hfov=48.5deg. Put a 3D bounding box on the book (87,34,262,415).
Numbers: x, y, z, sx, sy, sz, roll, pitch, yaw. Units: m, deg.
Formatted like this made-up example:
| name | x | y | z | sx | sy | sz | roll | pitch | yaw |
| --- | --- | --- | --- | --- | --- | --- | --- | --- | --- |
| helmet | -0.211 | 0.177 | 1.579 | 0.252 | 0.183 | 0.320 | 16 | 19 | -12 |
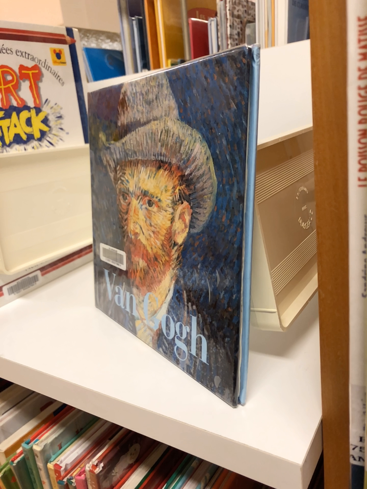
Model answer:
| name | x | y | z | sx | sy | sz | roll | pitch | yaw |
| --- | --- | --- | --- | --- | --- | --- | --- | --- | --- |
| book | -0.024 | -0.019 | 0.295 | 0.013 | 0.198 | 0.200 | -6 | 12 | -34 |
